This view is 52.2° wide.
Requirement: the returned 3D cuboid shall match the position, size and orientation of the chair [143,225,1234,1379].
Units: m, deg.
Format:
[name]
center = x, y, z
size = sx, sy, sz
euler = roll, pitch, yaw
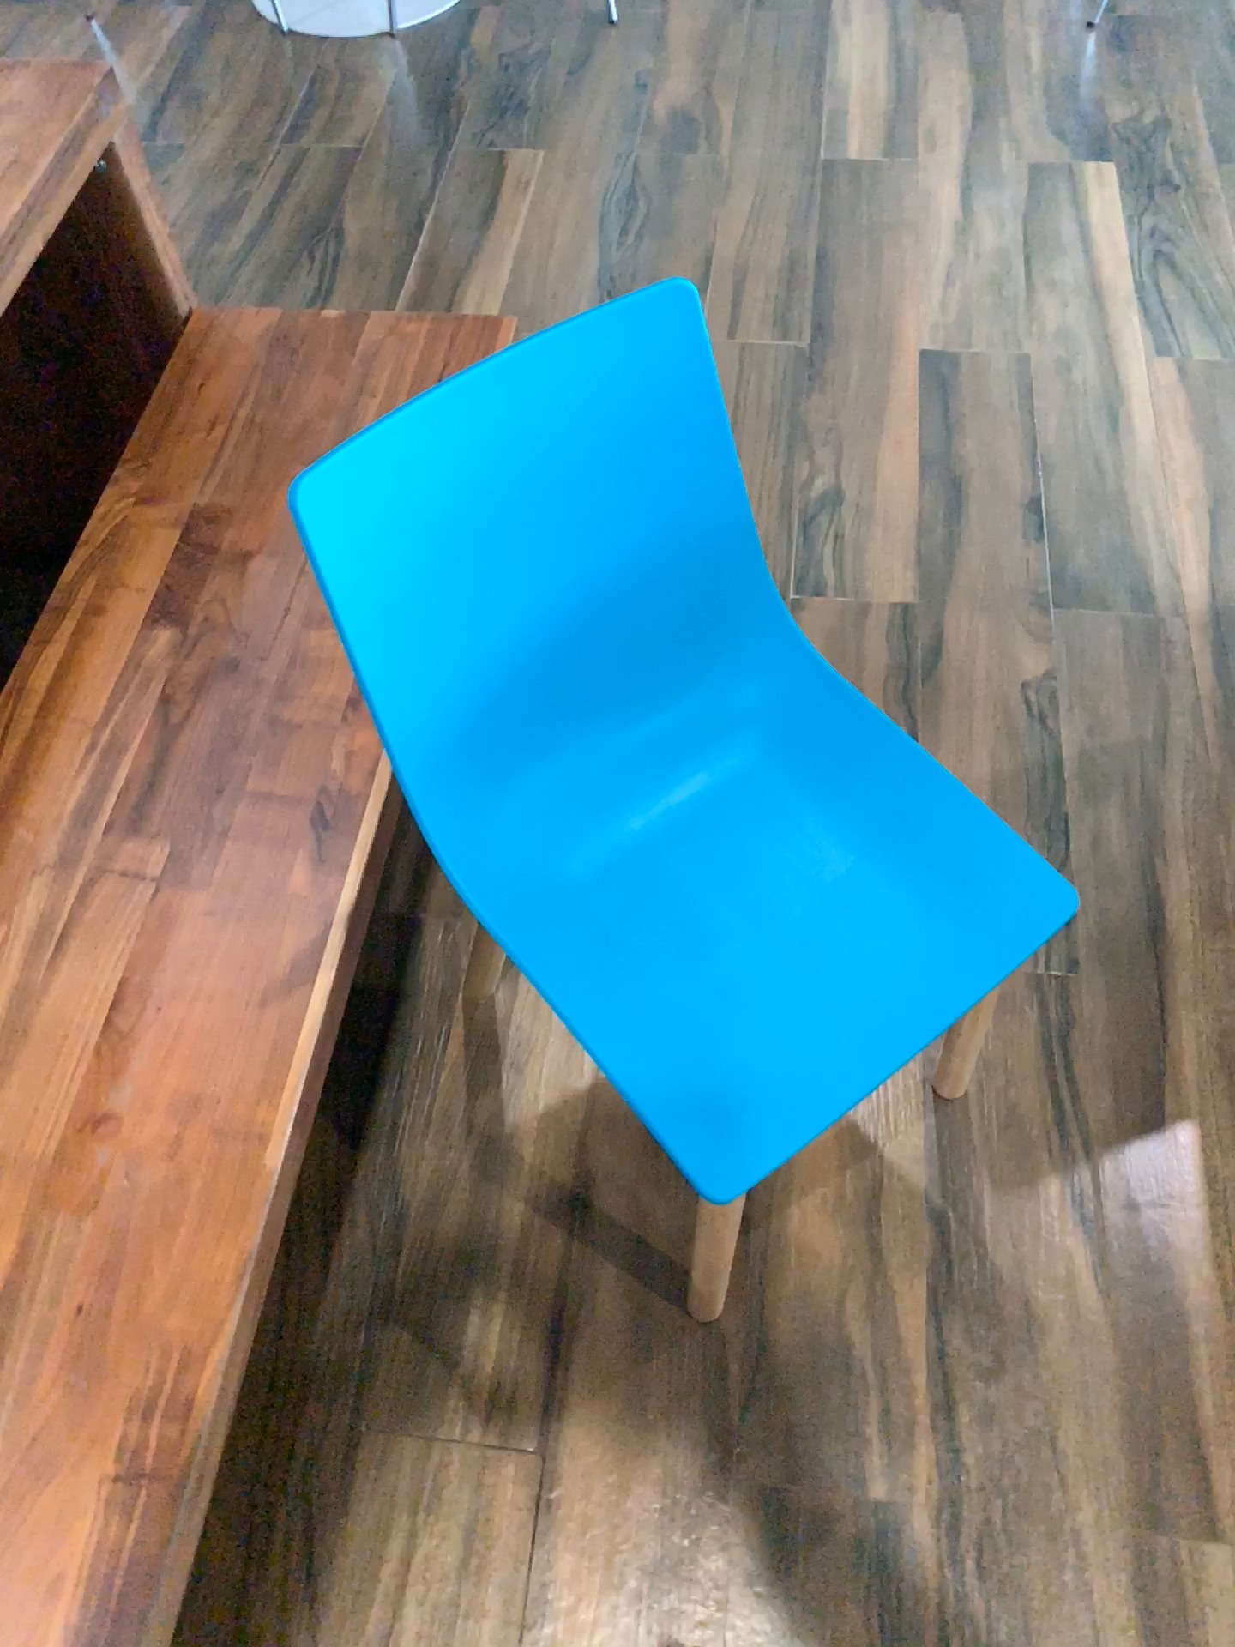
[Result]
[chair]
center = 0.061, 0.009, 1.109
size = 0.511, 0.666, 0.583
euler = -34, 61, -18
